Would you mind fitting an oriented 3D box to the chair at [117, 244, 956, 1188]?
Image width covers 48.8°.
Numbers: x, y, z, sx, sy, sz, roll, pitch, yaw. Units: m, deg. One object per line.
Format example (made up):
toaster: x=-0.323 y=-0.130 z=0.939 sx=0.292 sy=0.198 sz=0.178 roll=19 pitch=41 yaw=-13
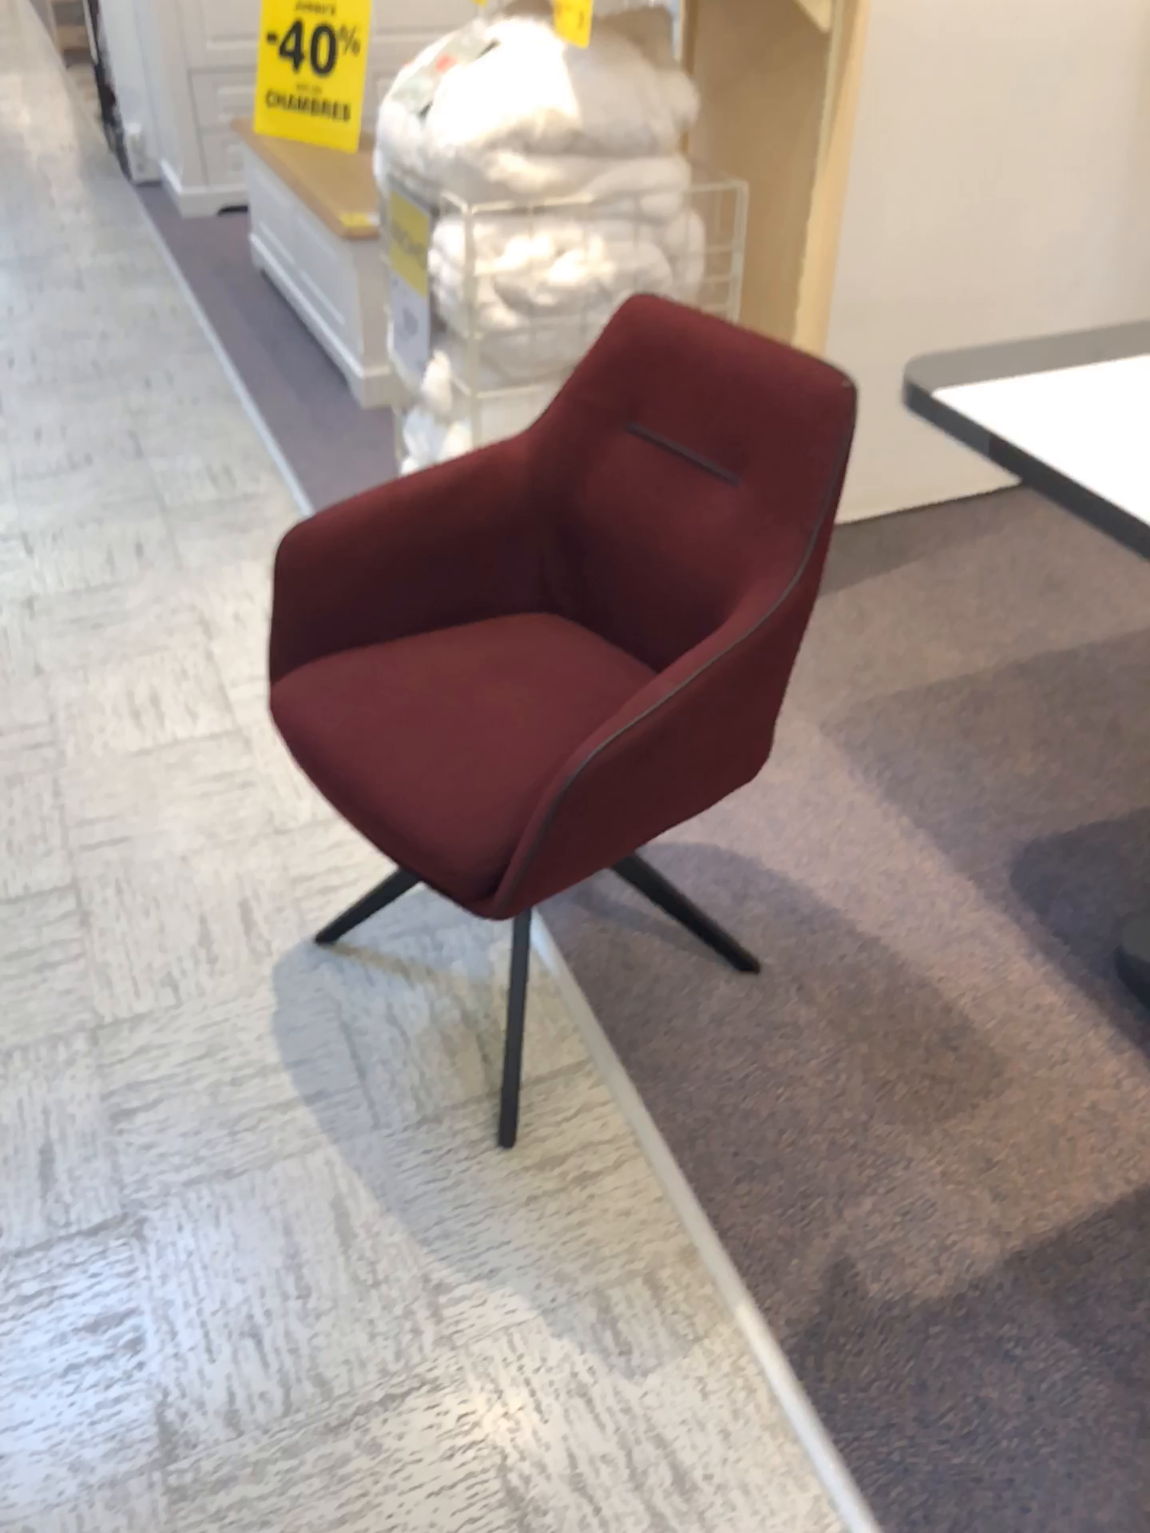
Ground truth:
chair: x=-0.052 y=-0.095 z=1.440 sx=0.573 sy=0.735 sz=0.581 roll=-26 pitch=45 yaw=-30
